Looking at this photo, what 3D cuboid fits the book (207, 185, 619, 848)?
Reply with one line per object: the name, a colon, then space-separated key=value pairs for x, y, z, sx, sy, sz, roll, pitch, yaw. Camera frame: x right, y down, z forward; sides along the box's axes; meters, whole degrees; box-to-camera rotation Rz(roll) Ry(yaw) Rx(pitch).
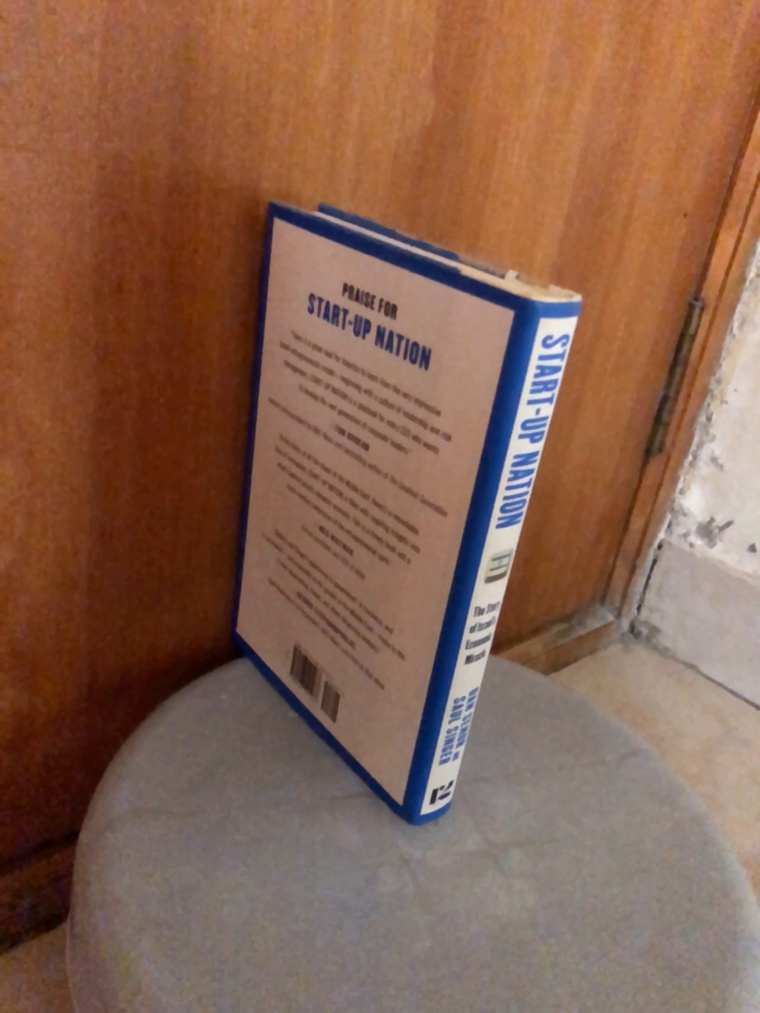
book: x=-0.011 y=-0.007 z=0.379 sx=0.040 sy=0.229 sz=0.200 roll=-12 pitch=32 yaw=-35
